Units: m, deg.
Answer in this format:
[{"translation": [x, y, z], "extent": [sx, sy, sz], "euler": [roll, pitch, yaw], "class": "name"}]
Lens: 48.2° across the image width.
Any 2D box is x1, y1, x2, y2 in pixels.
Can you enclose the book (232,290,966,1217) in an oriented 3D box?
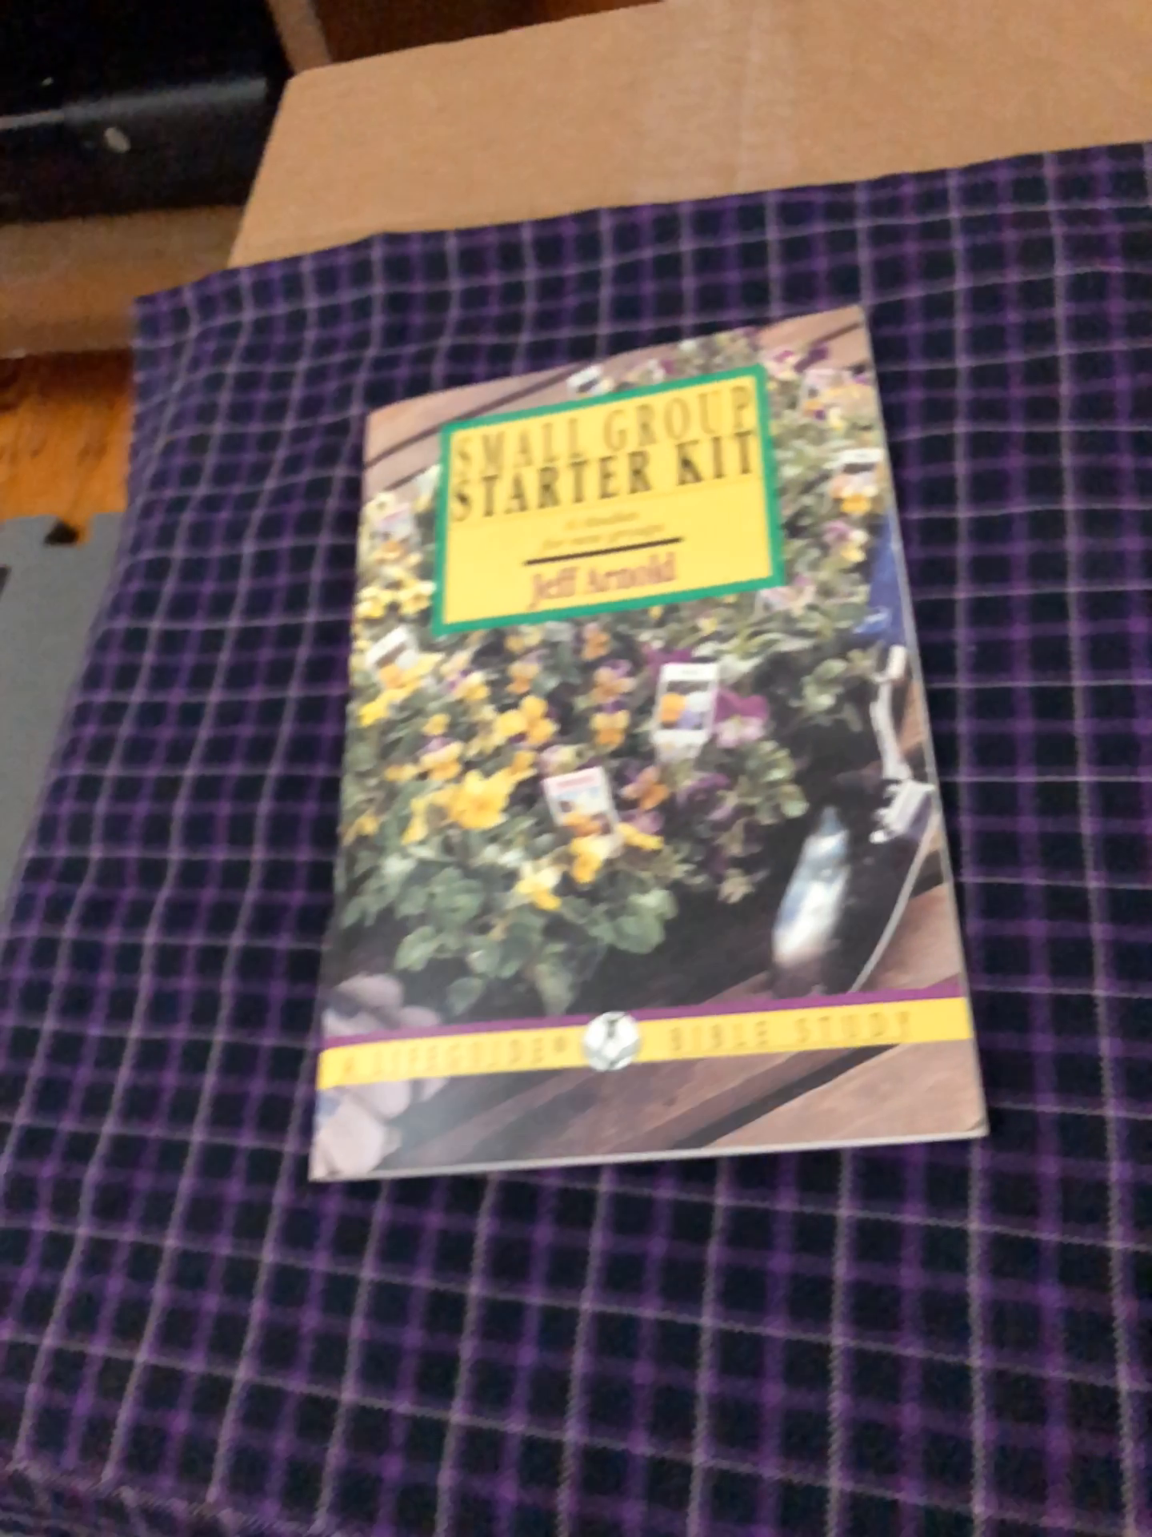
[{"translation": [-0.001, -0.013, 0.307], "extent": [0.150, 0.010, 0.221], "euler": [-8, 63, 15], "class": "book"}]
